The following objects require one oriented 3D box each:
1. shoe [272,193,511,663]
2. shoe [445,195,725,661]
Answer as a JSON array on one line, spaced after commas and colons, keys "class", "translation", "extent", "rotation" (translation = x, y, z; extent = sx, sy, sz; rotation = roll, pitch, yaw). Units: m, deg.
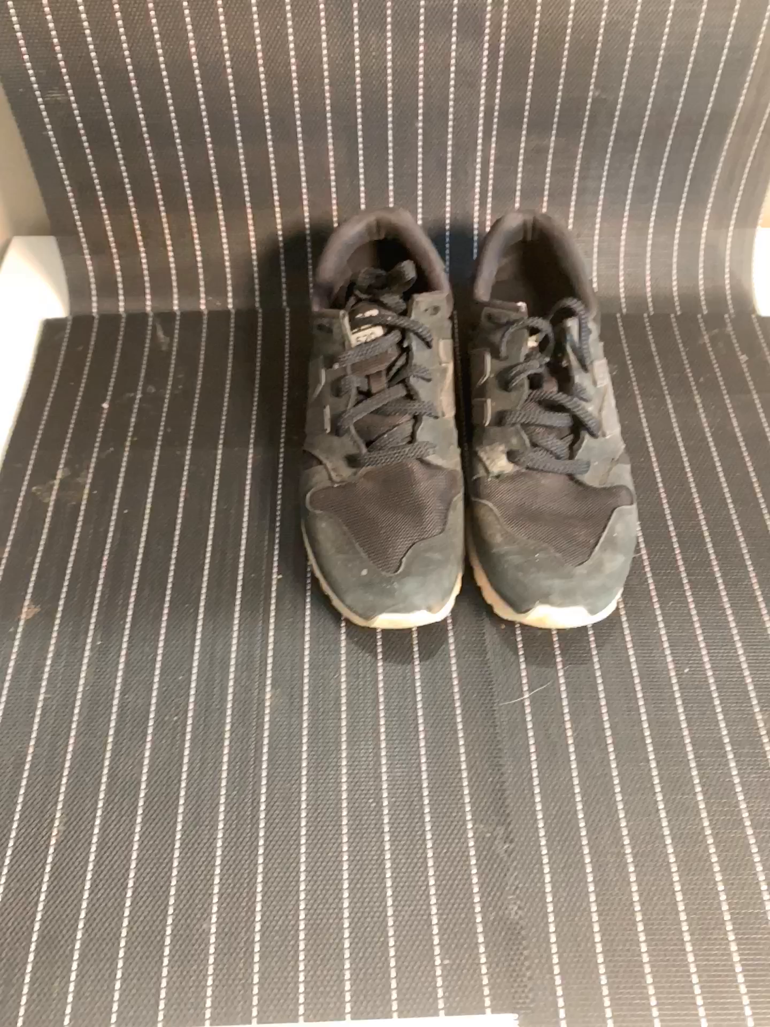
[{"class": "shoe", "translation": [-0.002, -0.068, 0.490], "extent": [0.110, 0.090, 0.301], "rotation": [-1, 55, -1]}, {"class": "shoe", "translation": [0.102, -0.067, 0.490], "extent": [0.110, 0.090, 0.301], "rotation": [0, 55, 0]}]
